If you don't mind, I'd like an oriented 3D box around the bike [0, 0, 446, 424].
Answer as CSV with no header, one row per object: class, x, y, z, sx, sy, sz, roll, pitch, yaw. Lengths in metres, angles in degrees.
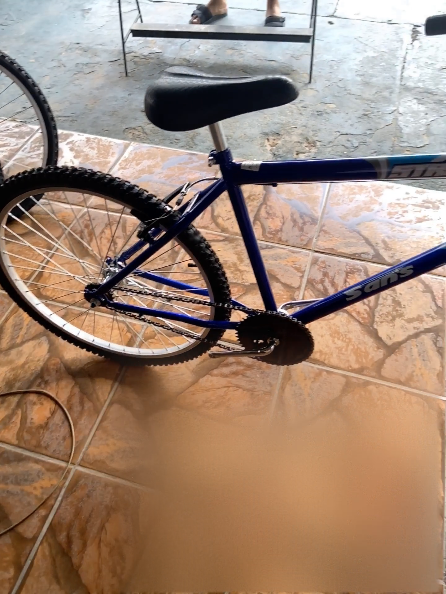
bike,0.191,-0.215,1.071,1.524,1.014,0.574,4,54,3
